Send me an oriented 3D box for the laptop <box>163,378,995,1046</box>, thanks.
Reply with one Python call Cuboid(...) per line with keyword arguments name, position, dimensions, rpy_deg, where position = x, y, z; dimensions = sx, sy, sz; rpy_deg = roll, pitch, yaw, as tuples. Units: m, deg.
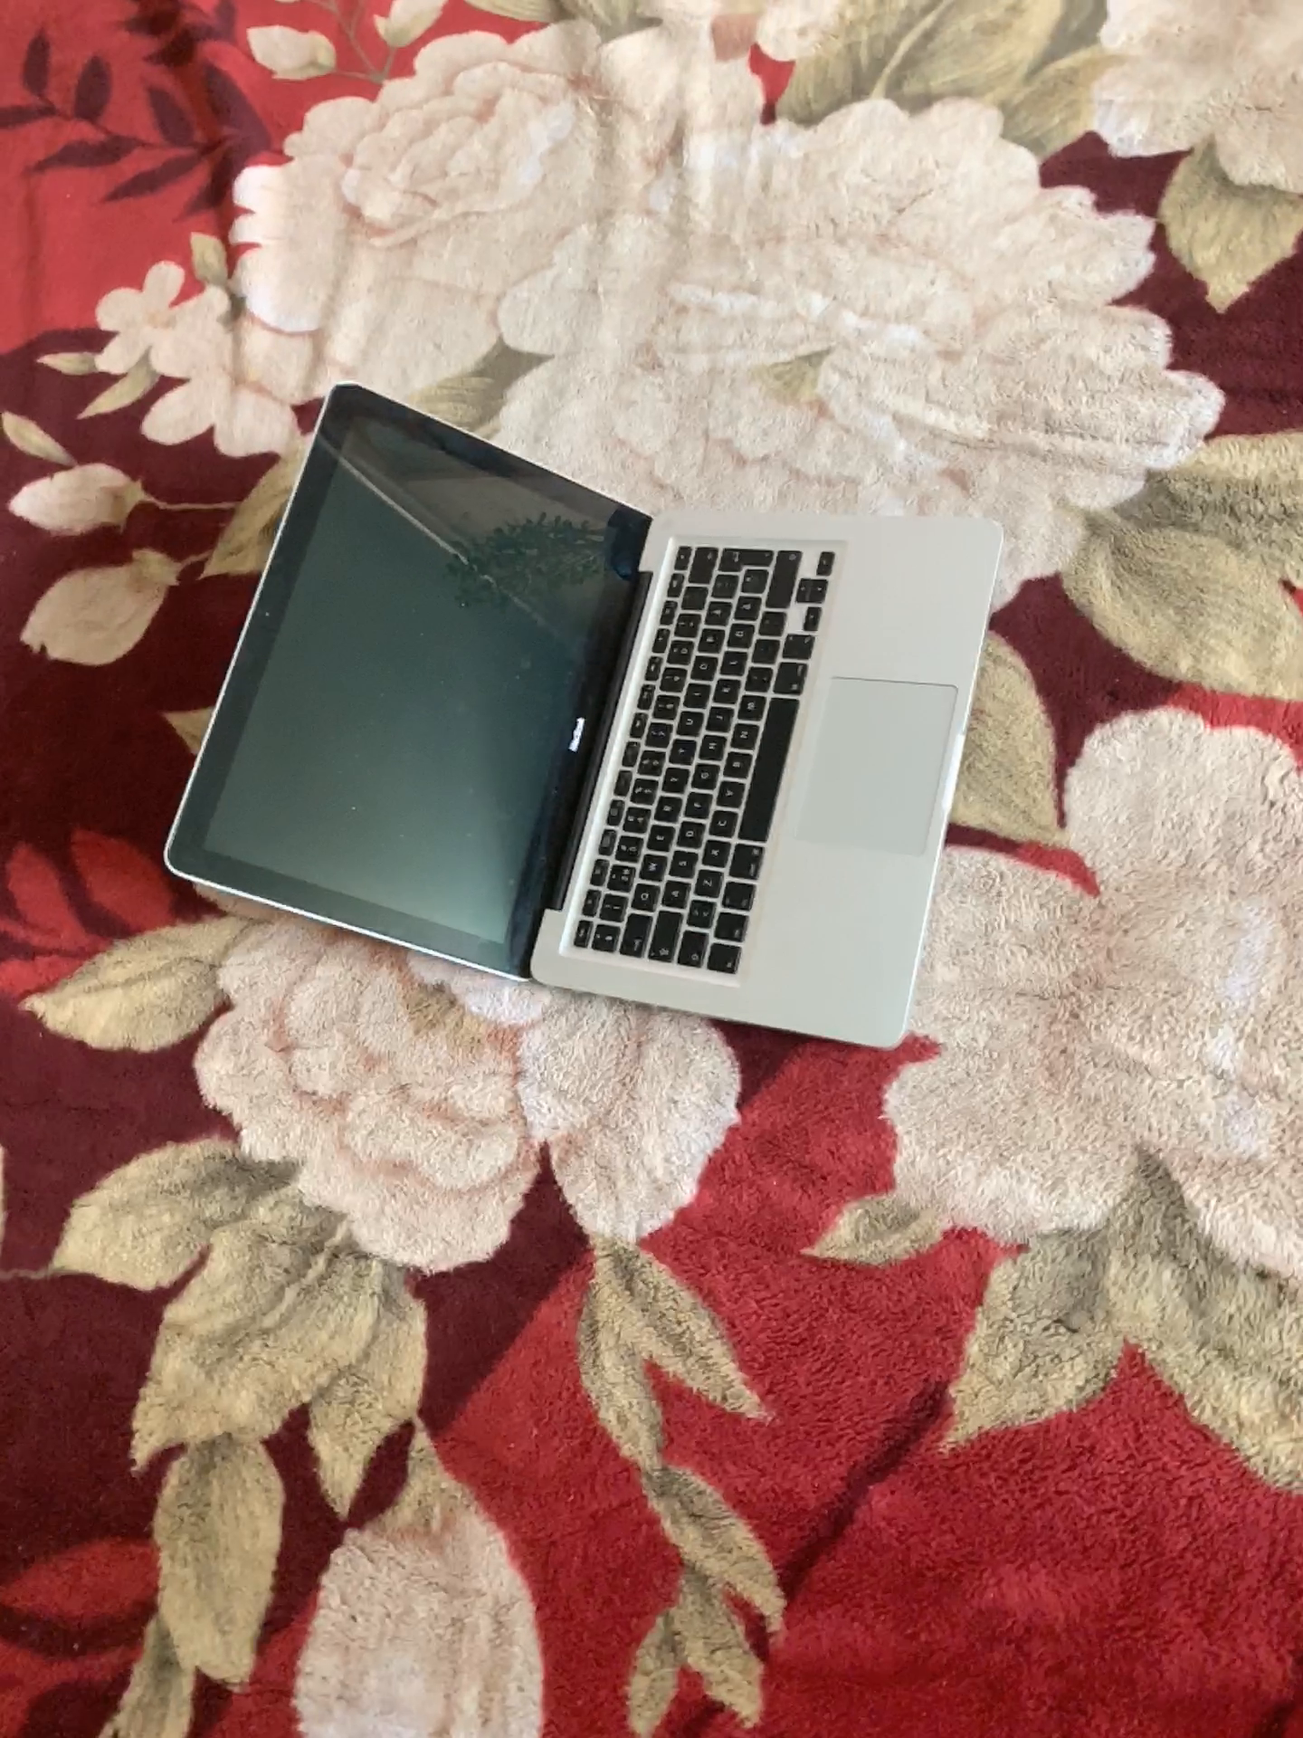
Cuboid(name="laptop", position=(-0.031, -0.101, 0.752), dimensions=(0.388, 0.116, 0.317), rpy_deg=(9, 75, 18))
